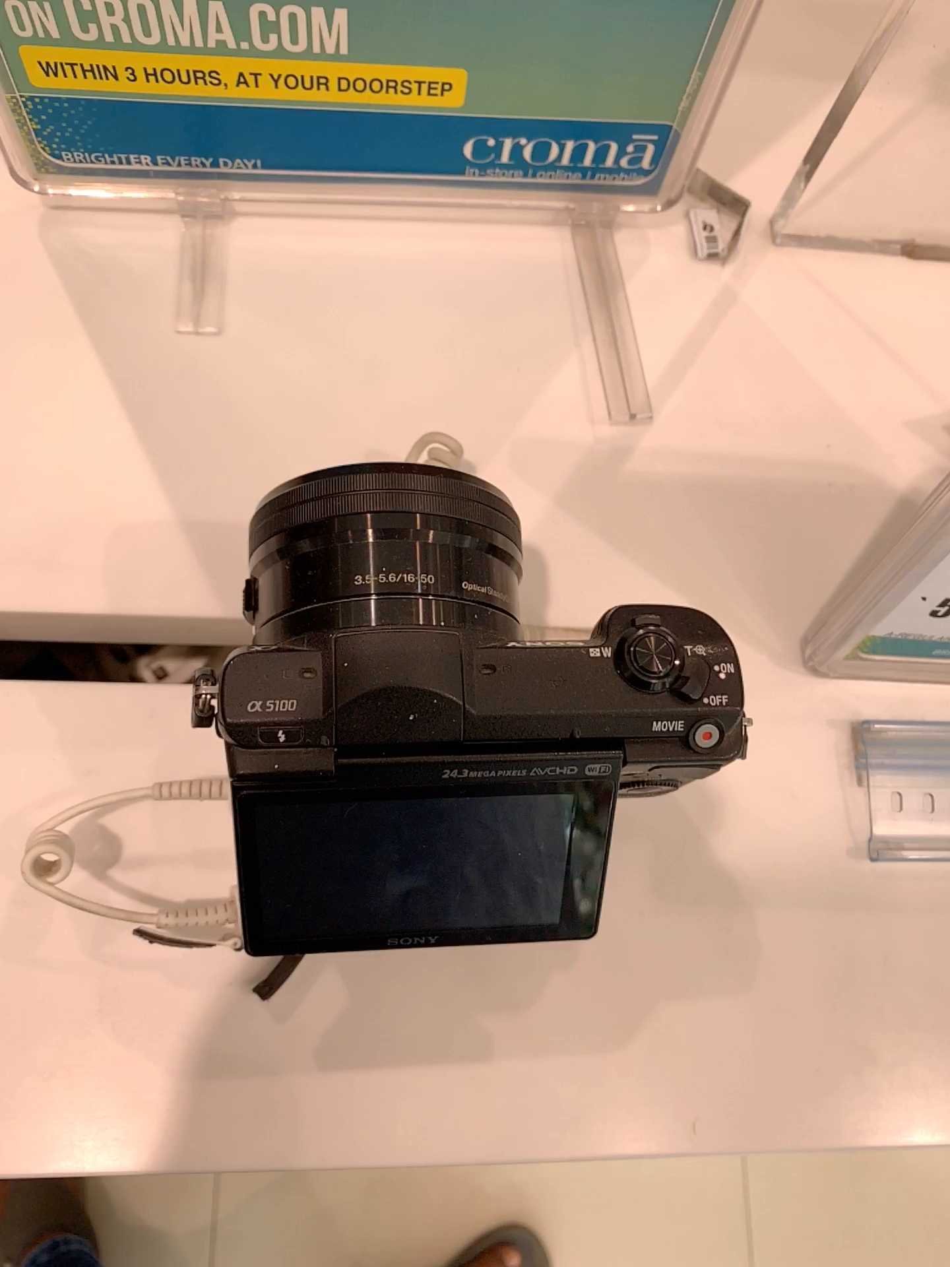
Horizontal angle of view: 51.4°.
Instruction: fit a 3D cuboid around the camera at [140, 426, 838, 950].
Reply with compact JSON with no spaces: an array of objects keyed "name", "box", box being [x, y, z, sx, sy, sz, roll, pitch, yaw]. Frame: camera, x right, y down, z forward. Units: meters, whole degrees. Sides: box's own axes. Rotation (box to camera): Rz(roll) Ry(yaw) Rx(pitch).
[{"name":"camera","box":[-0.002,0.017,0.207,0.110,0.082,0.088,-1,72,-7]}]
